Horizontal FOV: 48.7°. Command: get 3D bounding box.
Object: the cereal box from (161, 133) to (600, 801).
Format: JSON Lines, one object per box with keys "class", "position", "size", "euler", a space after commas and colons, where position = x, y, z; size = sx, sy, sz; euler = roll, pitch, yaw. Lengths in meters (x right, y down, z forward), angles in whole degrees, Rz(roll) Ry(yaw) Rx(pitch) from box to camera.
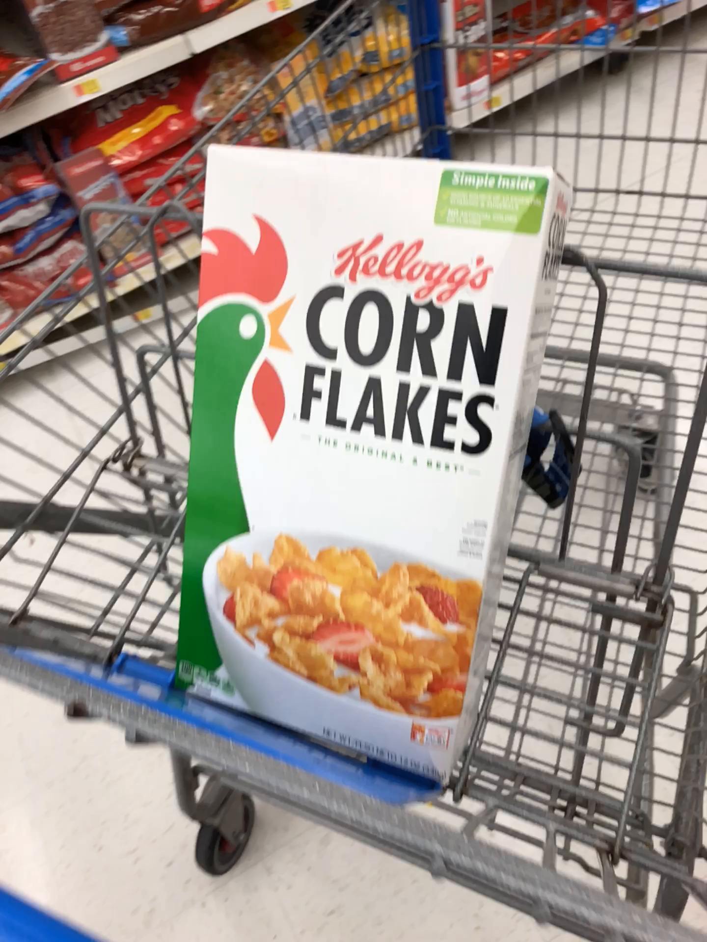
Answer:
{"class": "cereal box", "position": [0.002, -0.007, 0.462], "size": [0.210, 0.340, 0.070], "euler": [13, 16, 22]}
